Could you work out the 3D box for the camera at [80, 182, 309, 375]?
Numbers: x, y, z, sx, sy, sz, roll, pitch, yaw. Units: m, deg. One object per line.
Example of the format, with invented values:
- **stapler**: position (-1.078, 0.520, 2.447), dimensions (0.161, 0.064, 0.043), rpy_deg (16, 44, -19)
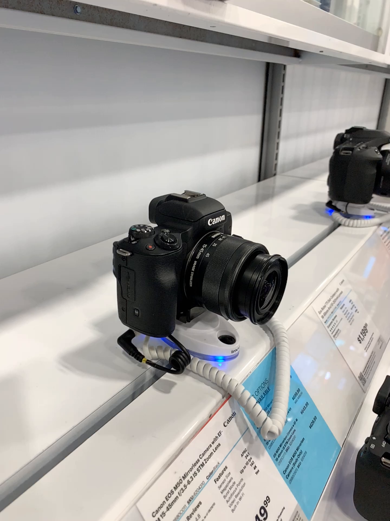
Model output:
- **camera**: position (0.005, -0.002, 0.305), dimensions (0.110, 0.080, 0.130), rpy_deg (16, 27, 32)
